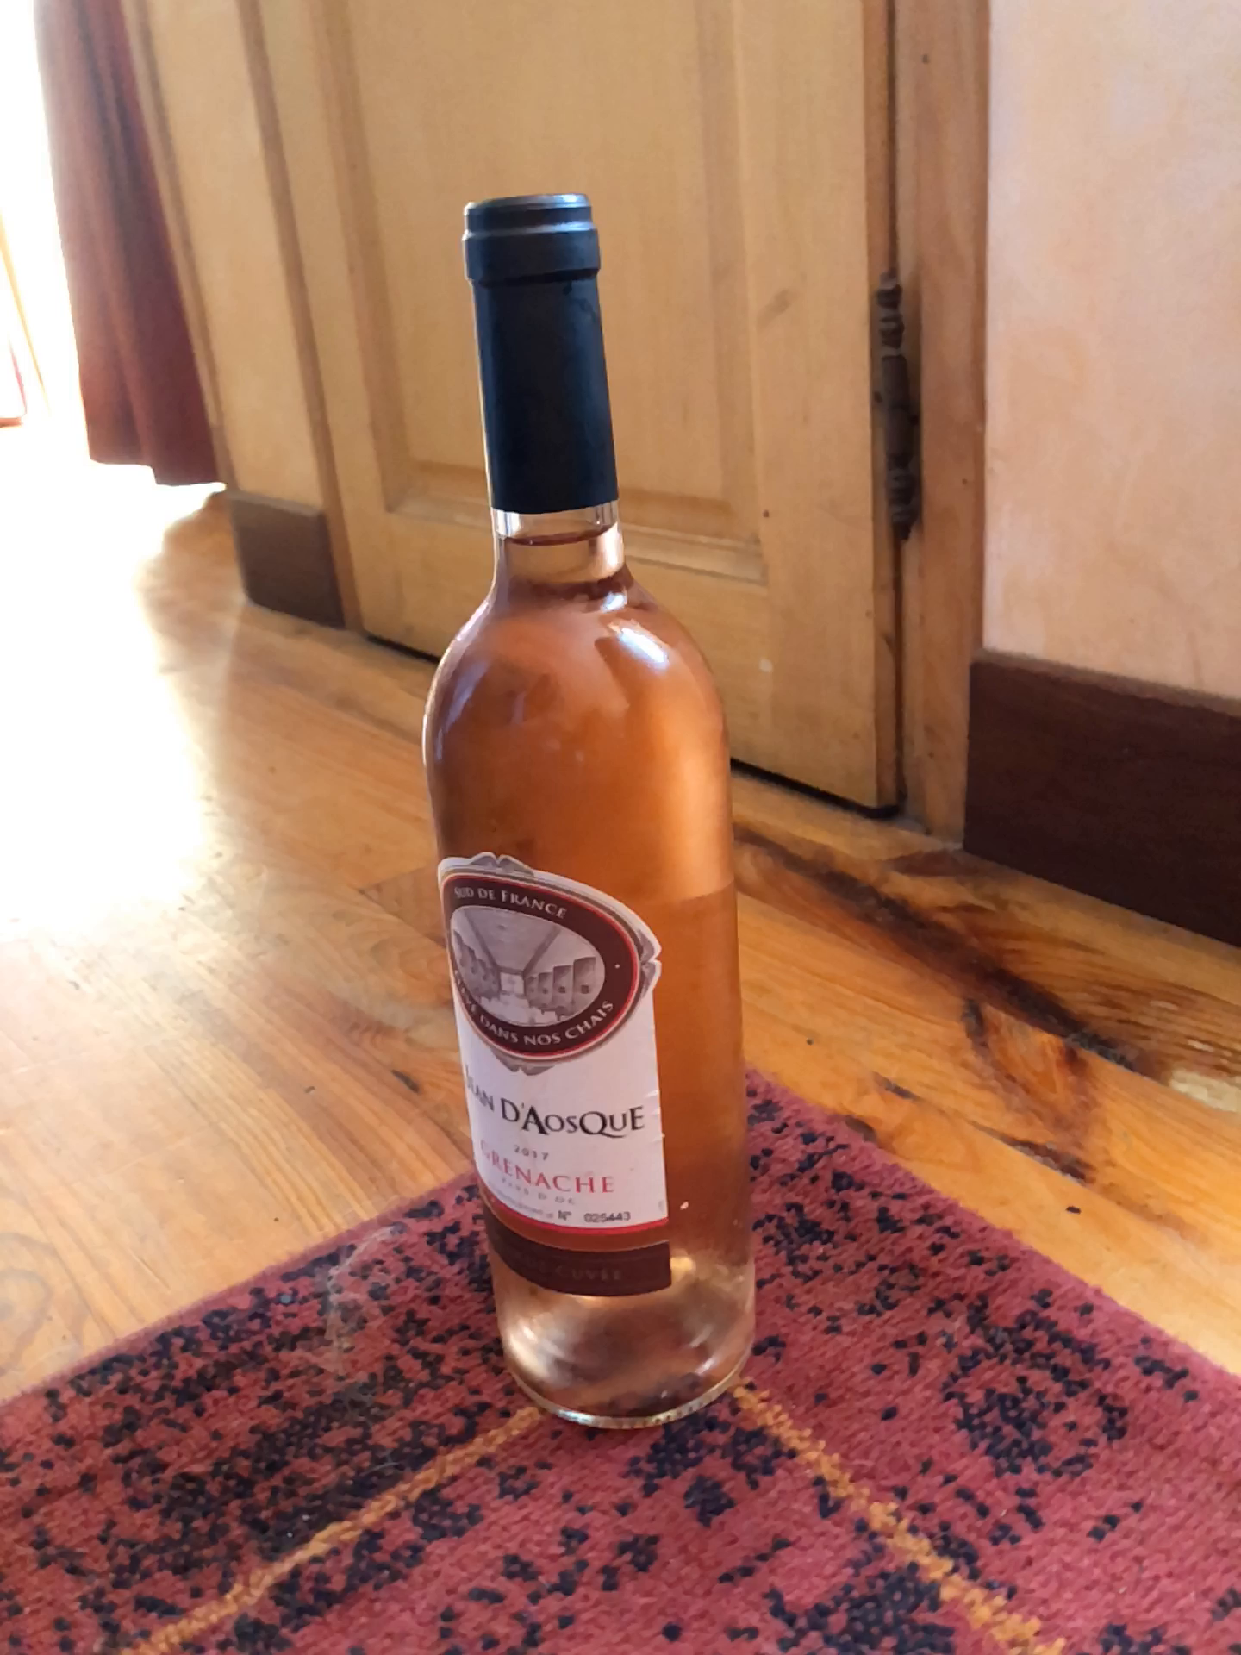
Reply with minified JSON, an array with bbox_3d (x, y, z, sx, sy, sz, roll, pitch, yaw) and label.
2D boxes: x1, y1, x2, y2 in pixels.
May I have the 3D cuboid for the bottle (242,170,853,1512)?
[{"bbox_3d":[-0.002,0.012,0.341,0.090,0.308,0.080,7,26,28],"label":"bottle"}]
